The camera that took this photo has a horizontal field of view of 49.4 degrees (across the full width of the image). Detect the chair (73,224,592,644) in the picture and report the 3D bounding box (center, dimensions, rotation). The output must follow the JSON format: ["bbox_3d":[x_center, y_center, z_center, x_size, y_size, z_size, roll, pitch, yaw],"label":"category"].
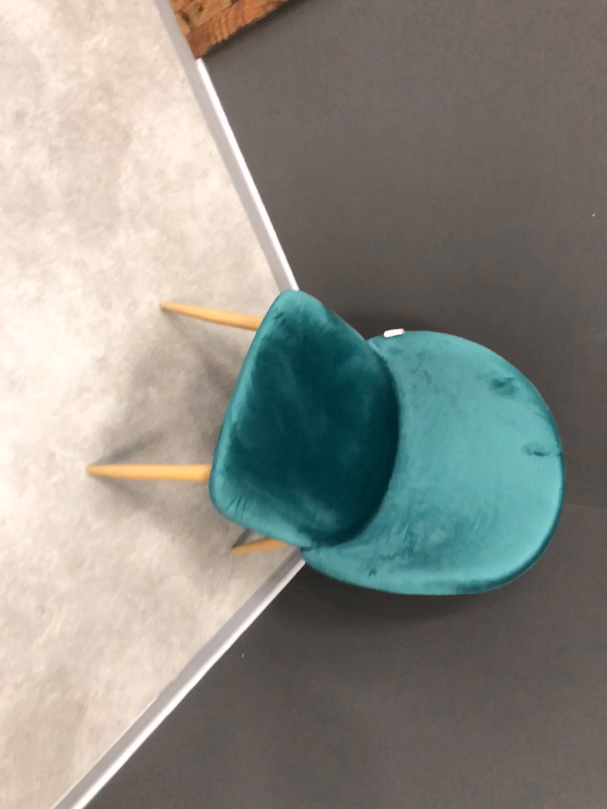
[{"bbox_3d":[0.037,0.072,1.422,0.542,0.855,0.541,33,69,-39],"label":"chair"}]
